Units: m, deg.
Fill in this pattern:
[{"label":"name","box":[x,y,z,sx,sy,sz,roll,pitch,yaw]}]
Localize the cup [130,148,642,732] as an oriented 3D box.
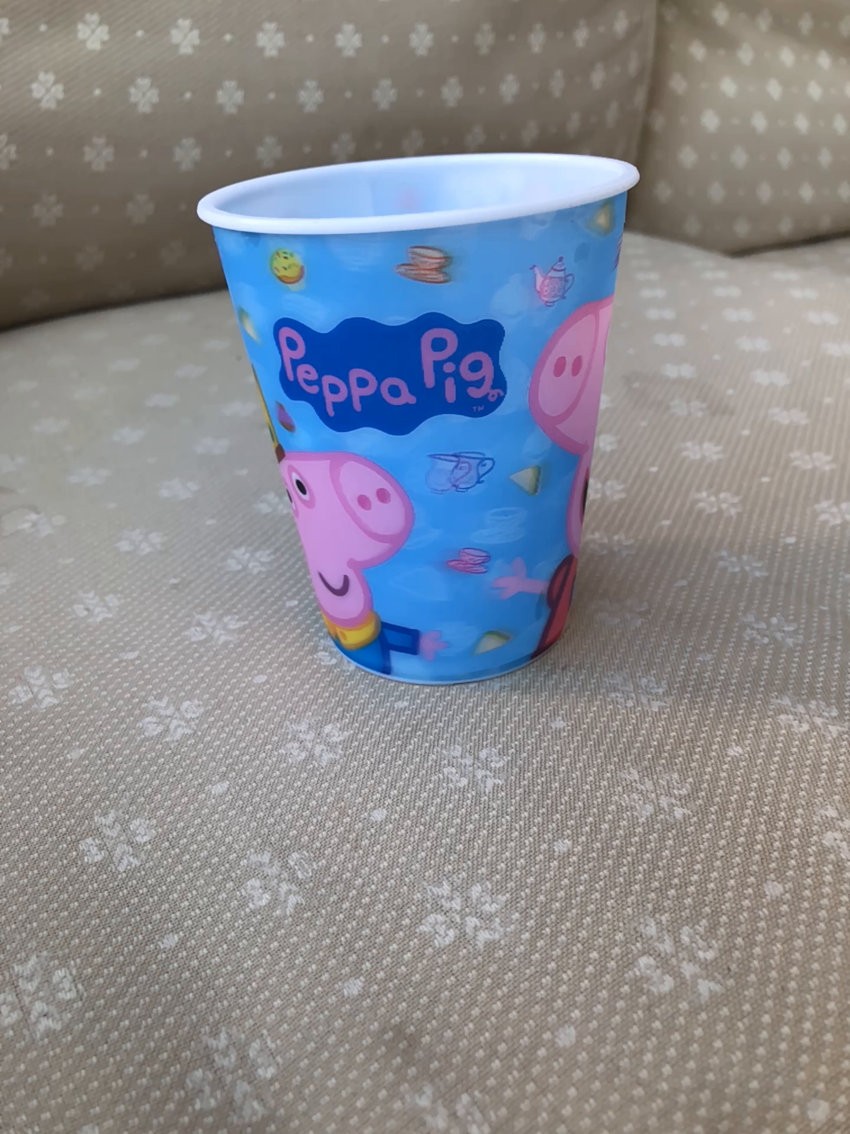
[{"label":"cup","box":[-0.001,-0.036,0.221,0.086,0.101,0.092,0,29,0]}]
